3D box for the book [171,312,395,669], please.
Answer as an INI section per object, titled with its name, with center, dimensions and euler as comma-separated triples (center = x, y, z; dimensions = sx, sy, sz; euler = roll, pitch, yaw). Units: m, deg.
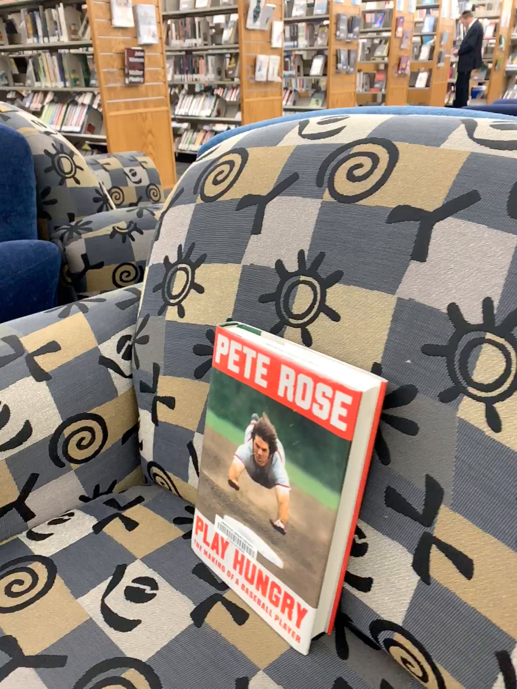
[book]
center = 0.004, 0.118, 0.478
dimensions = 0.040, 0.249, 0.191
euler = -8, 23, -44
